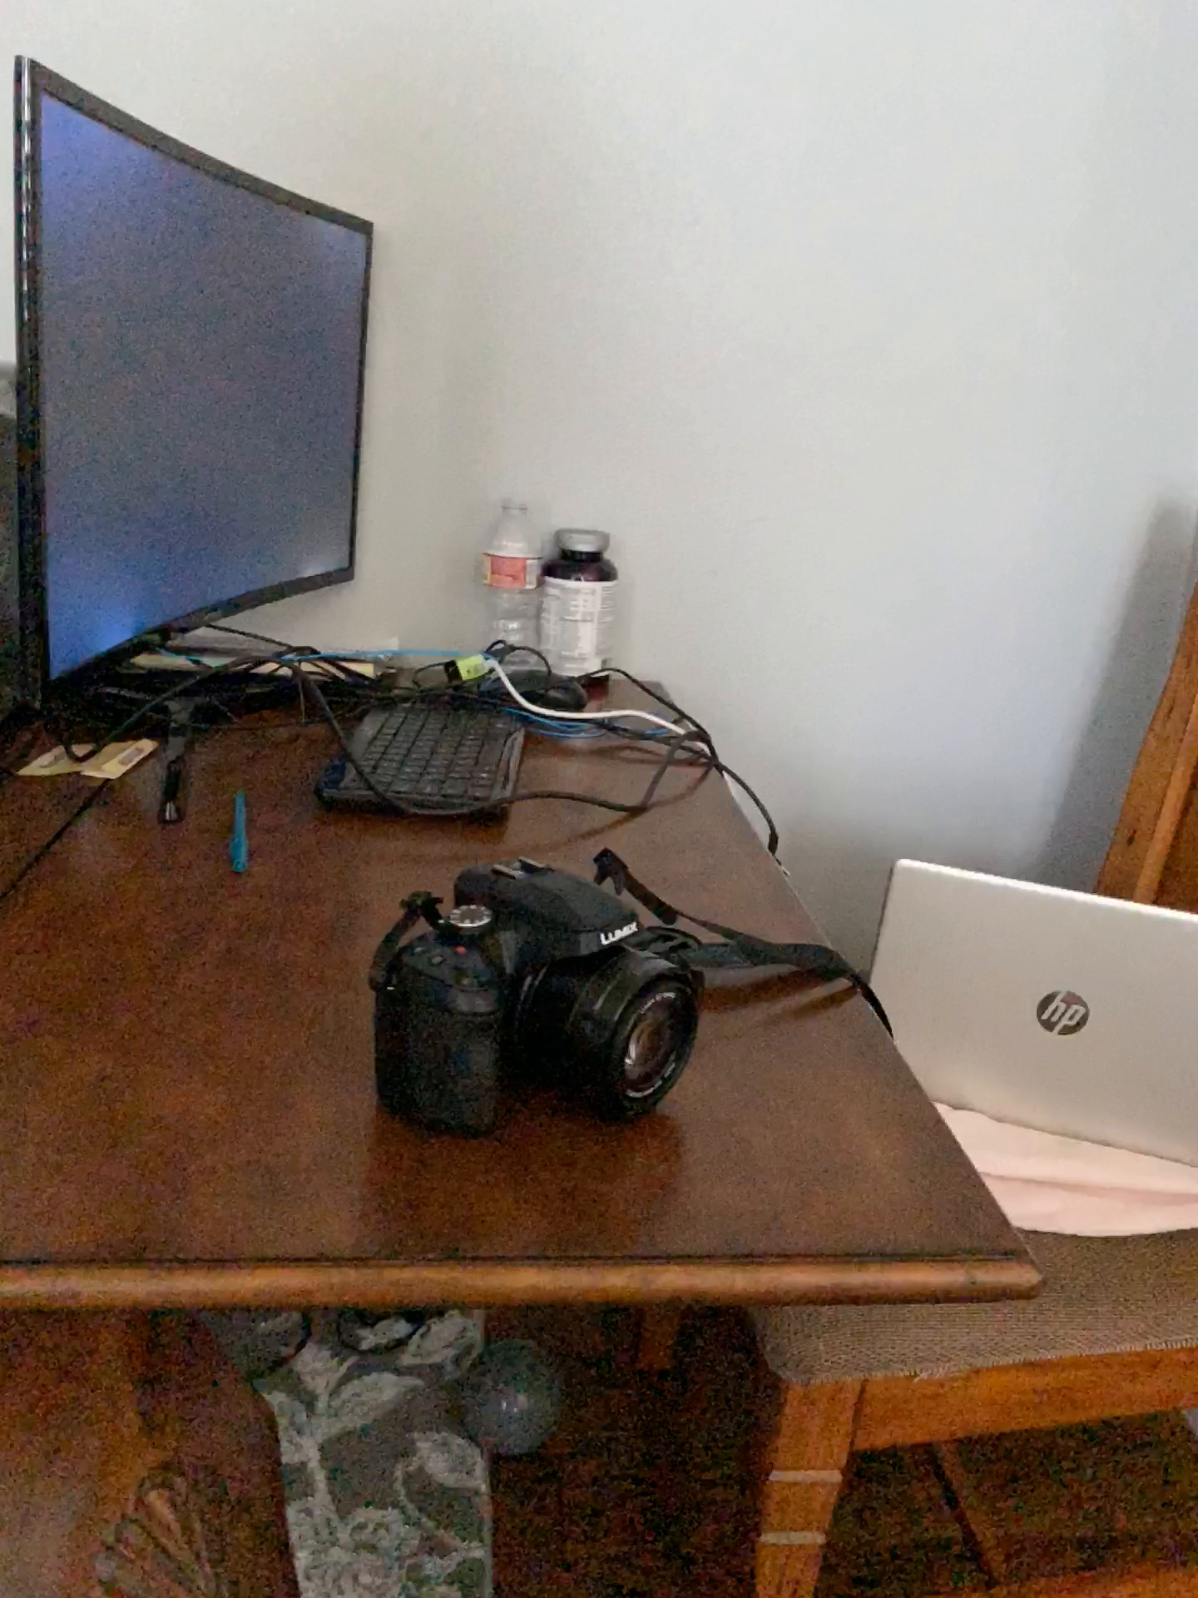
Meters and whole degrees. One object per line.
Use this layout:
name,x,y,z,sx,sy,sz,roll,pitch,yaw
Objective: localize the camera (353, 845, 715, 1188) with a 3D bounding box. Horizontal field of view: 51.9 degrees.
camera,-0.030,0.094,0.588,0.110,0.089,0.131,17,23,36
